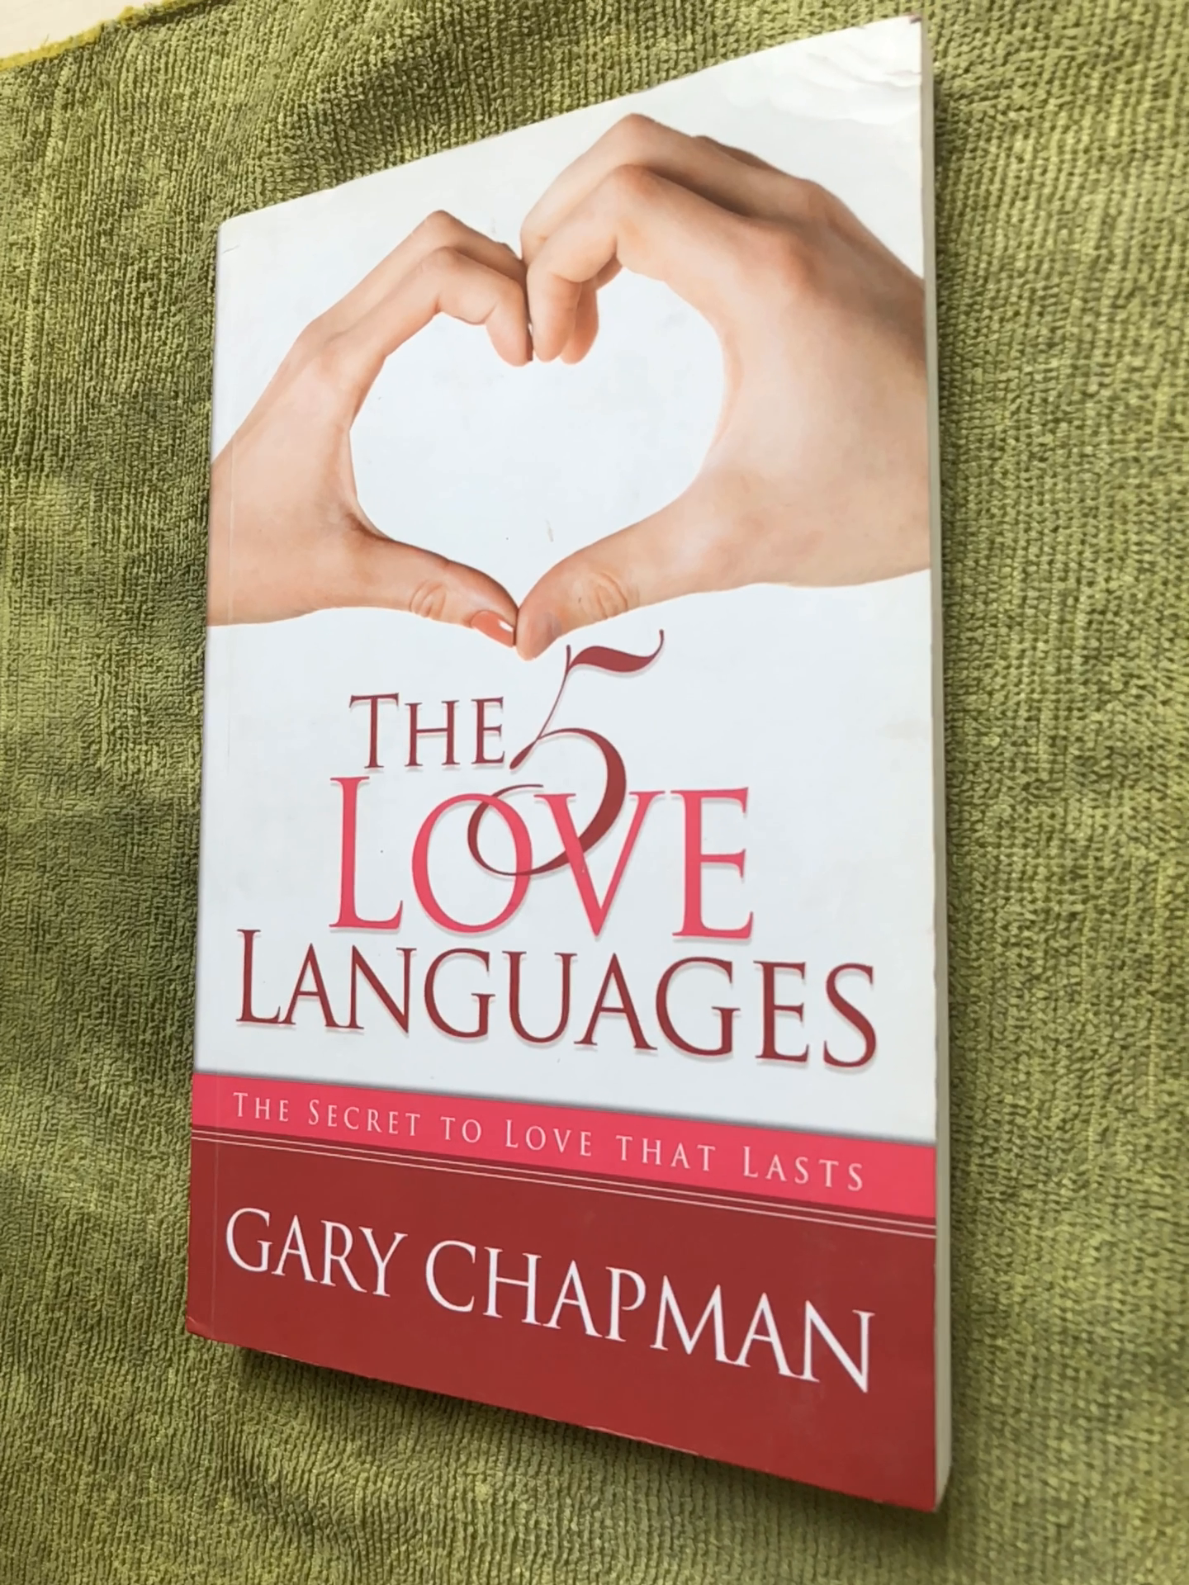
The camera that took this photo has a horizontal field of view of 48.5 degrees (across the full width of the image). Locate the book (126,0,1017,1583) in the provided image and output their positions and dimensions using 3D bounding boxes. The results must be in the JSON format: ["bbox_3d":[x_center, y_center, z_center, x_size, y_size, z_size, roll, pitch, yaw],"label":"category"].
[{"bbox_3d":[-0.009,-0.003,0.211,0.140,0.030,0.200,-1,85,27],"label":"book"}]
